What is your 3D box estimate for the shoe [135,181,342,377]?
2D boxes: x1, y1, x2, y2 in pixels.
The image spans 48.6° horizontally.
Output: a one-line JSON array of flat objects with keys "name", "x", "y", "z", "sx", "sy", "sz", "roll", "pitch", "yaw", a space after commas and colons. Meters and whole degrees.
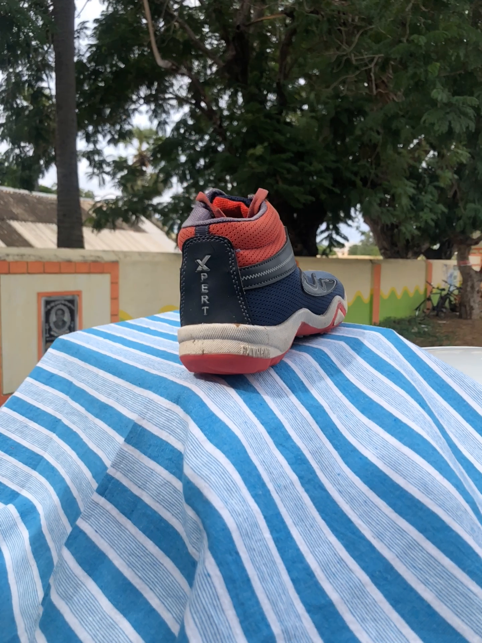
[{"name": "shoe", "x": 0.019, "y": -0.041, "z": 0.470, "sx": 0.100, "sy": 0.120, "sz": 0.271, "roll": 3, "pitch": 7, "yaw": 18}]
